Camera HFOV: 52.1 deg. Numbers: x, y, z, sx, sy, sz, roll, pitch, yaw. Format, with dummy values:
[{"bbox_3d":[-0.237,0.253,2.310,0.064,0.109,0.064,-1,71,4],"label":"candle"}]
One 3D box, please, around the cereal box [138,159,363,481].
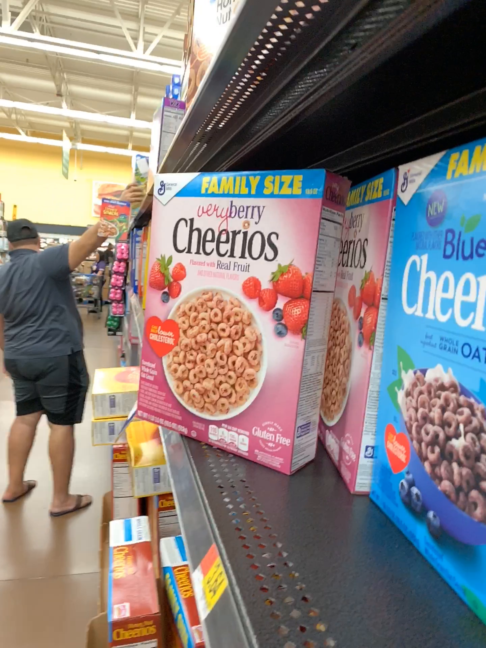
[{"bbox_3d":[-0.005,-0.018,0.582,0.240,0.320,0.060,10,7,35],"label":"cereal box"}]
